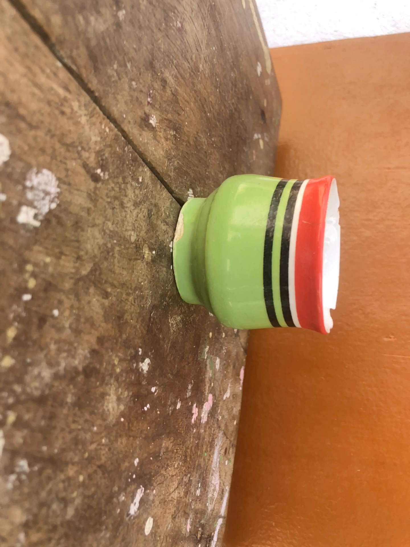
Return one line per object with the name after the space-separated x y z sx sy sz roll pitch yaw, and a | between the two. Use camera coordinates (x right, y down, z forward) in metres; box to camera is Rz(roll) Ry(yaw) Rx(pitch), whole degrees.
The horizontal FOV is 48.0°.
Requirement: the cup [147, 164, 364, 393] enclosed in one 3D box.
0.028 -0.003 0.193 0.090 0.070 0.070 -19 110 -71 | cup
